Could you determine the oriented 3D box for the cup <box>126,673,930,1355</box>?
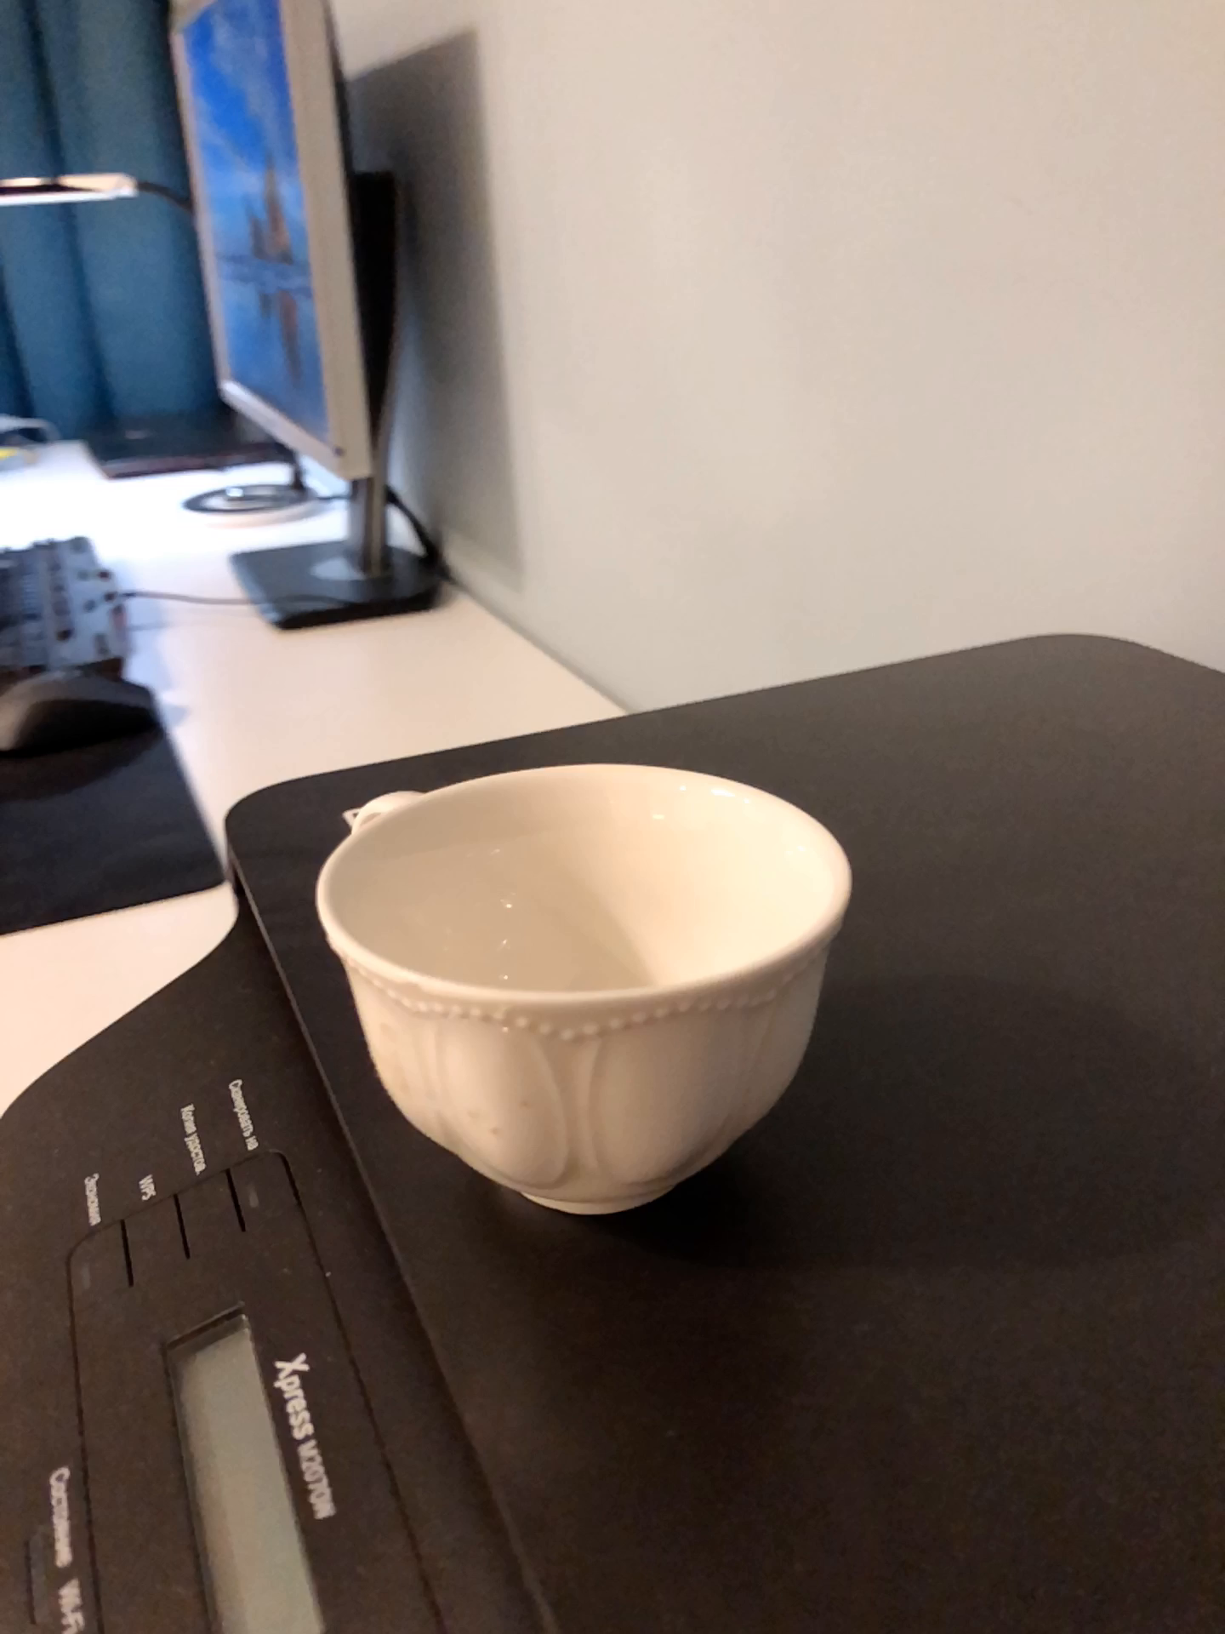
[{"bbox_3d":[-0.014,0.019,0.210,0.076,0.044,0.094,-24,34,-38],"label":"cup"}]
